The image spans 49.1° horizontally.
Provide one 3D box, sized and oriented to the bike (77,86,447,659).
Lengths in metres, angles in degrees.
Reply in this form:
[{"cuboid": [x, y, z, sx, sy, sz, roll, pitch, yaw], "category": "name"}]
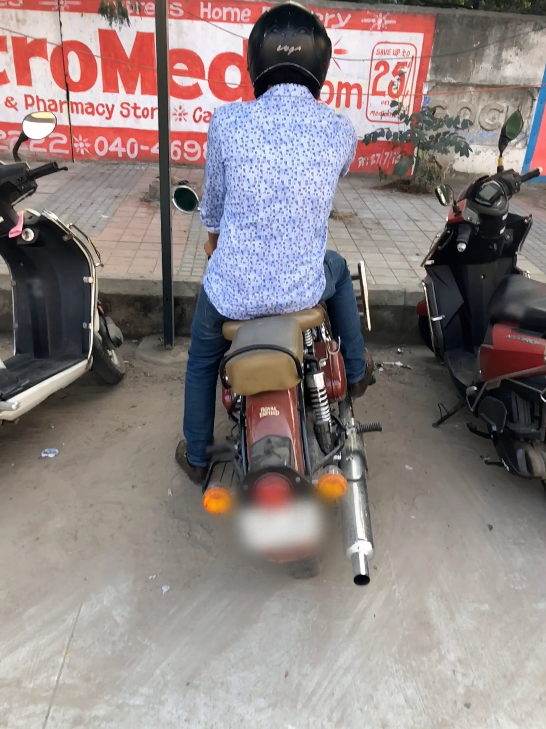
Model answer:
[{"cuboid": [-0.064, -0.143, 2.194, 0.792, 1.256, 1.558, 3, 32, -1], "category": "bike"}]
